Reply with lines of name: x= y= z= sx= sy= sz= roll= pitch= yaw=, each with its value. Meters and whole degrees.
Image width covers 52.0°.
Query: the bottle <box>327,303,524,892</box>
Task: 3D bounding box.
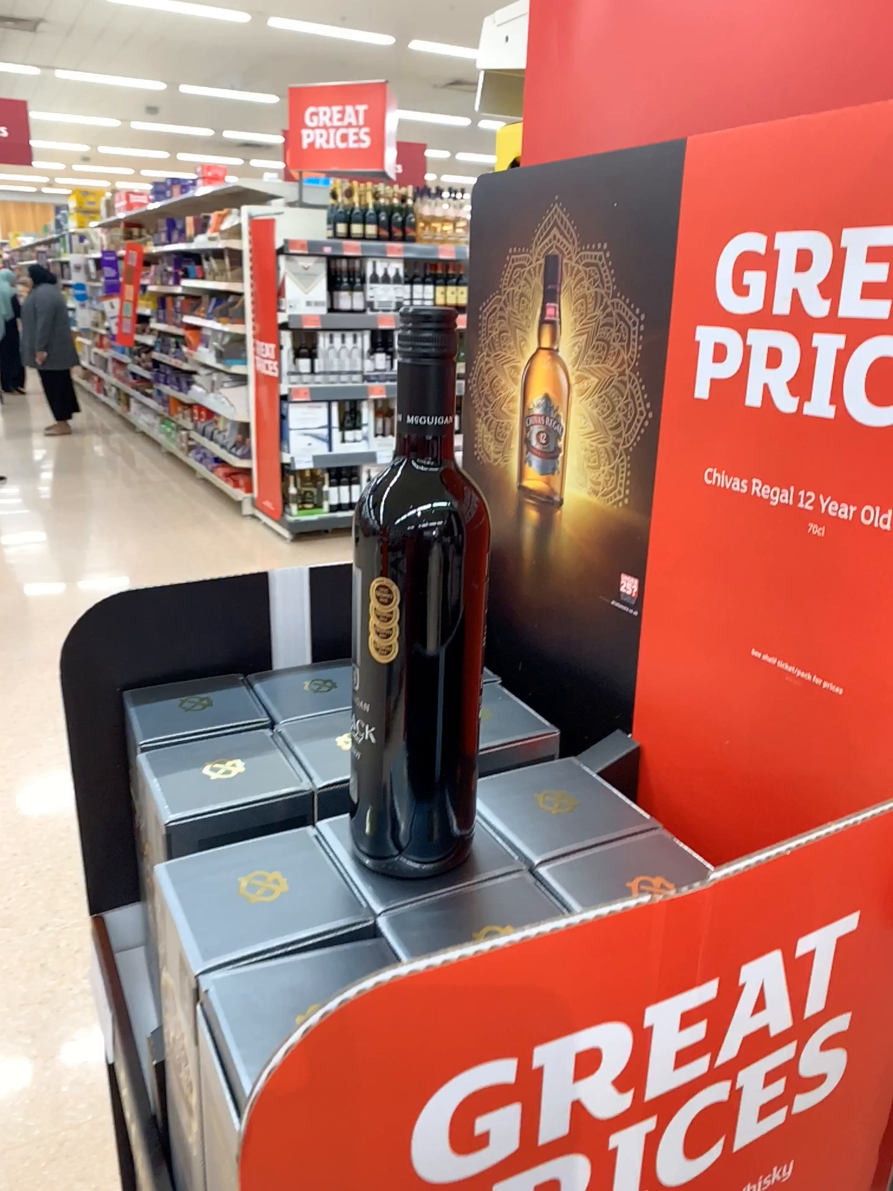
bottle: x=-0.016 y=0.003 z=0.469 sx=0.080 sy=0.288 sz=0.070 roll=-2 pitch=18 yaw=-12
